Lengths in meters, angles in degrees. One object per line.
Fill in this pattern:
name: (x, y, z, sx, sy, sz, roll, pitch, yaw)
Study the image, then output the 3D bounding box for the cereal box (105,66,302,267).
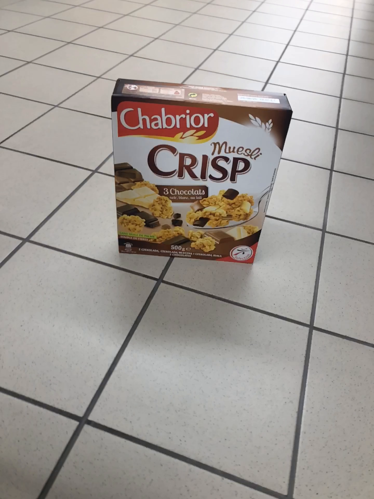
cereal box: (0.009, -0.090, 0.514, 0.200, 0.228, 0.060, 5, 41, -2)
